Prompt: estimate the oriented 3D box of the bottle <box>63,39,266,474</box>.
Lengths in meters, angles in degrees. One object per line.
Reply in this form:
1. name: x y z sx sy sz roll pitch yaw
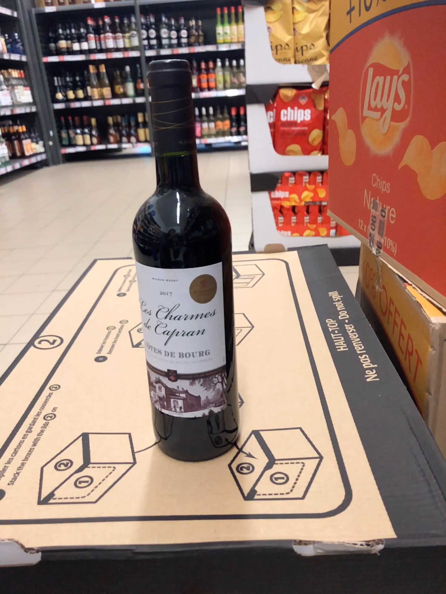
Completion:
1. bottle: -0.026 -0.021 0.362 0.090 0.289 0.091 -4 22 2
